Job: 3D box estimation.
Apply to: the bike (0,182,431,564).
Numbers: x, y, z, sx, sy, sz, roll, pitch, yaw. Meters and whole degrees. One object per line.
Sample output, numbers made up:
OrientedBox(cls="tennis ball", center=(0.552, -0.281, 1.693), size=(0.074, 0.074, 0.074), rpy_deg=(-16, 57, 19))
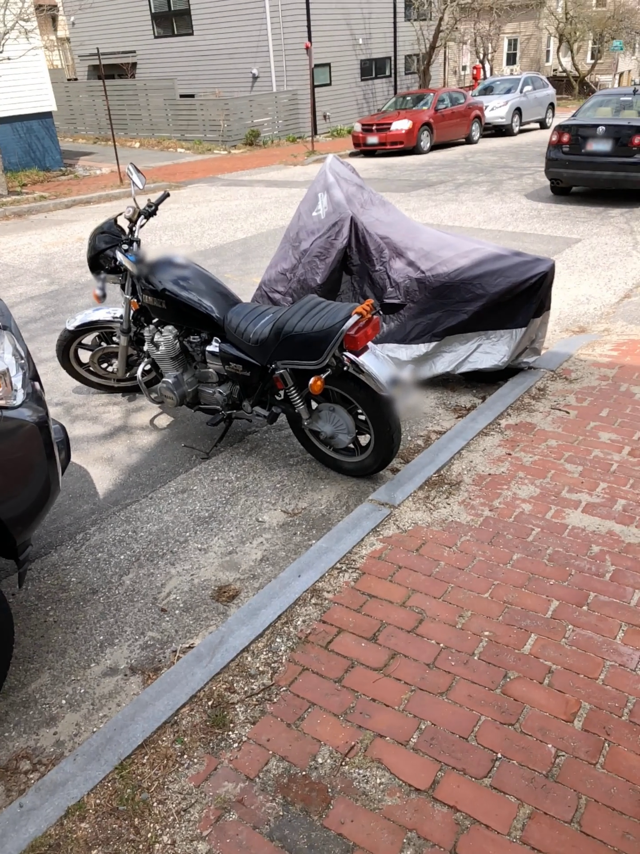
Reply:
OrientedBox(cls="bike", center=(-0.656, -0.410, 3.568), size=(2.297, 1.418, 0.690), rpy_deg=(14, 33, 30))
